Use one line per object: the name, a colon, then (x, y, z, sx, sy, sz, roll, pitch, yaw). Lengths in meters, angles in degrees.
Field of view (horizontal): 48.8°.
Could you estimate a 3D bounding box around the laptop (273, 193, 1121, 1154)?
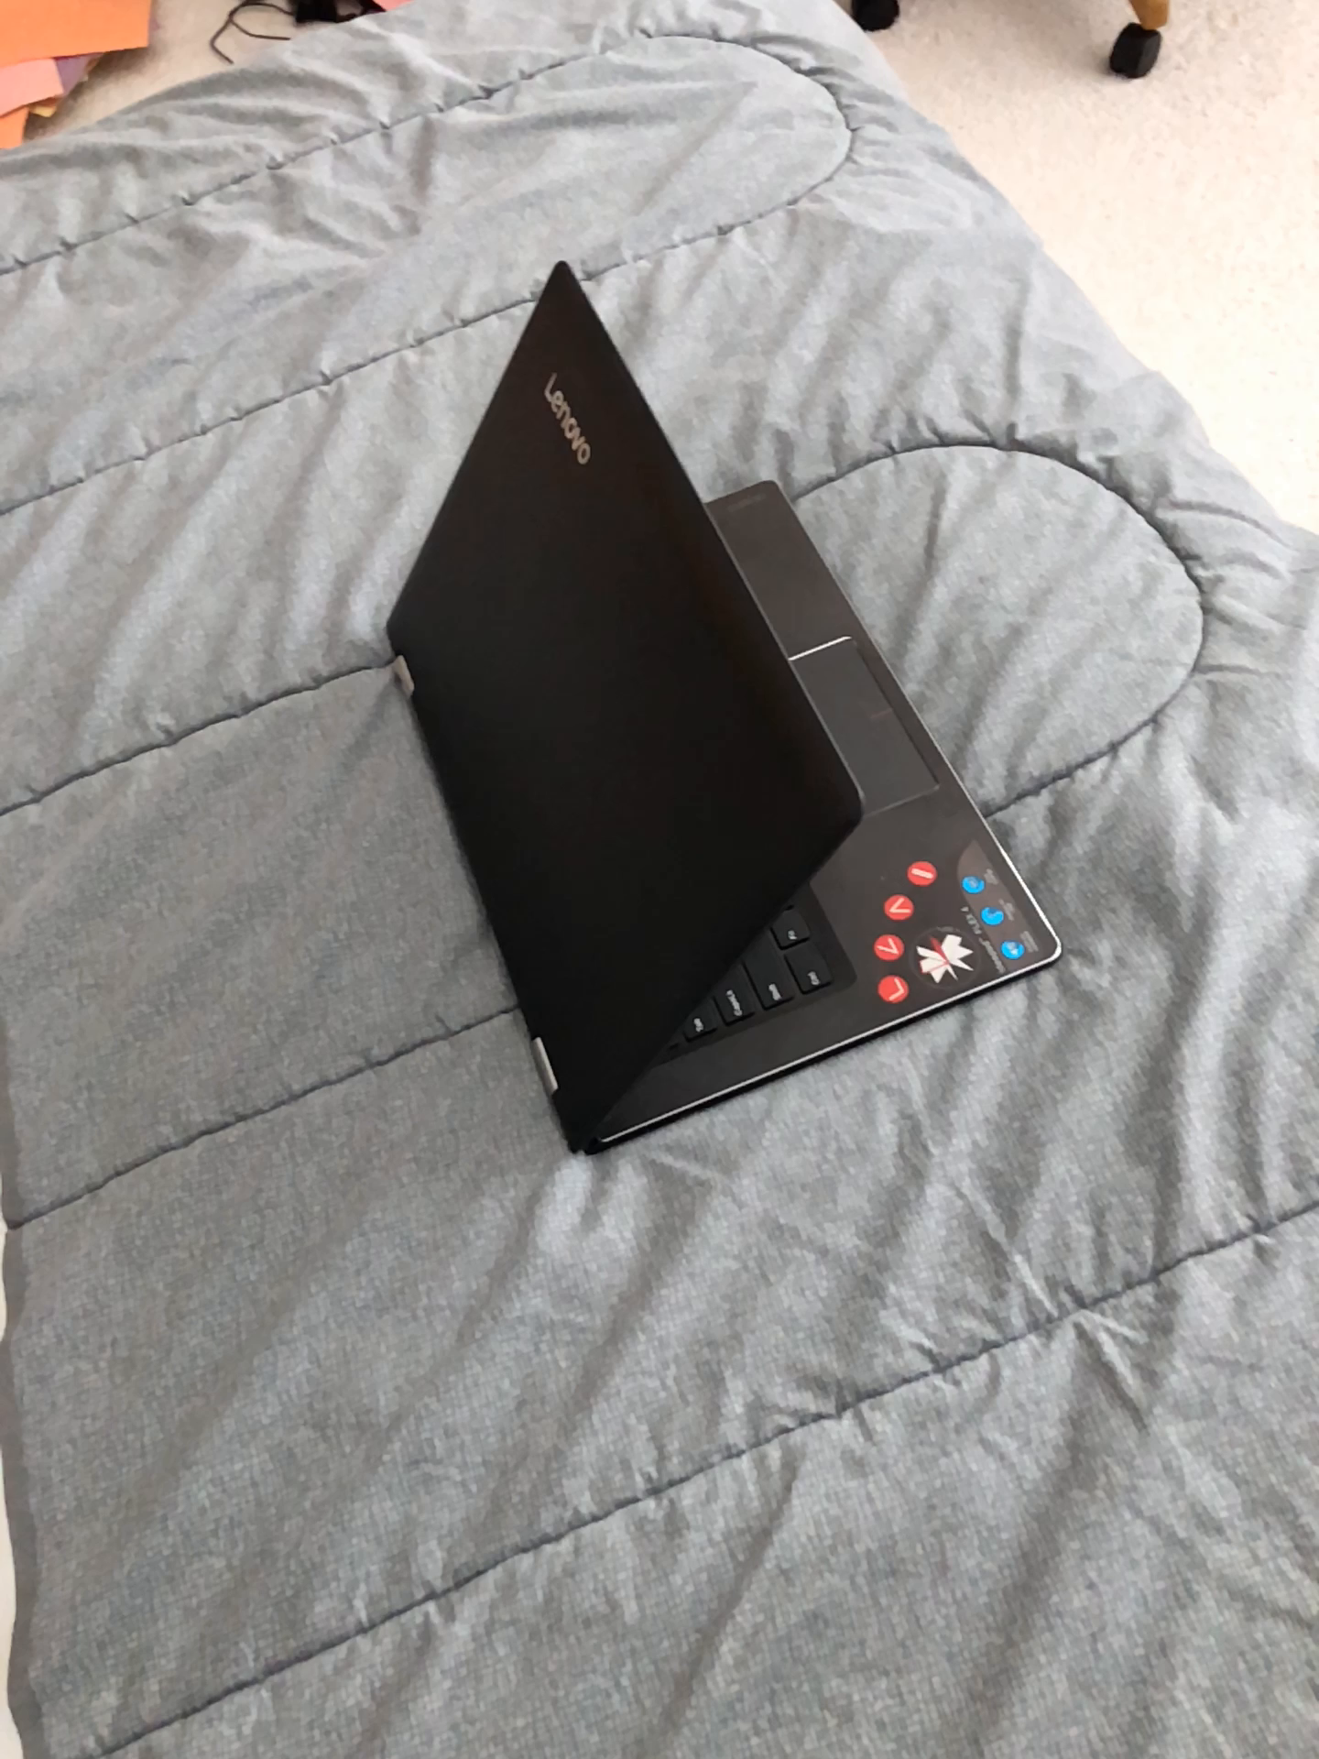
laptop: (0.002, -0.090, 0.601, 0.214, 0.168, 0.305, -22, 58, -3)
